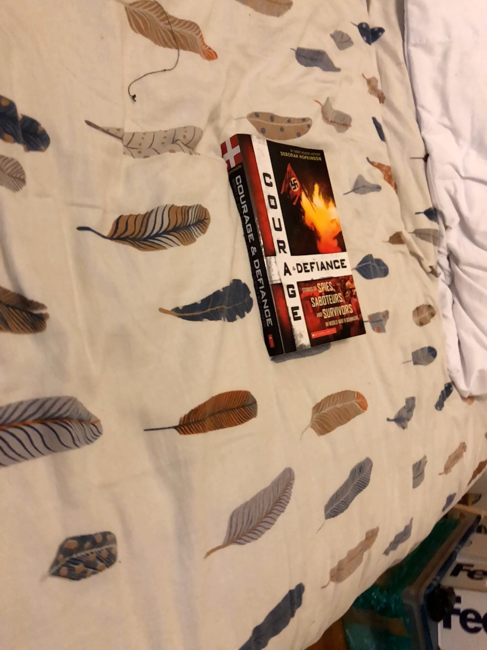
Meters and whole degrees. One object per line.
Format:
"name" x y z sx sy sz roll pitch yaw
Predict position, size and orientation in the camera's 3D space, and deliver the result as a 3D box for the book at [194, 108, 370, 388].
"book" 0.050 -0.077 0.523 0.201 0.020 0.230 -15 93 -53
